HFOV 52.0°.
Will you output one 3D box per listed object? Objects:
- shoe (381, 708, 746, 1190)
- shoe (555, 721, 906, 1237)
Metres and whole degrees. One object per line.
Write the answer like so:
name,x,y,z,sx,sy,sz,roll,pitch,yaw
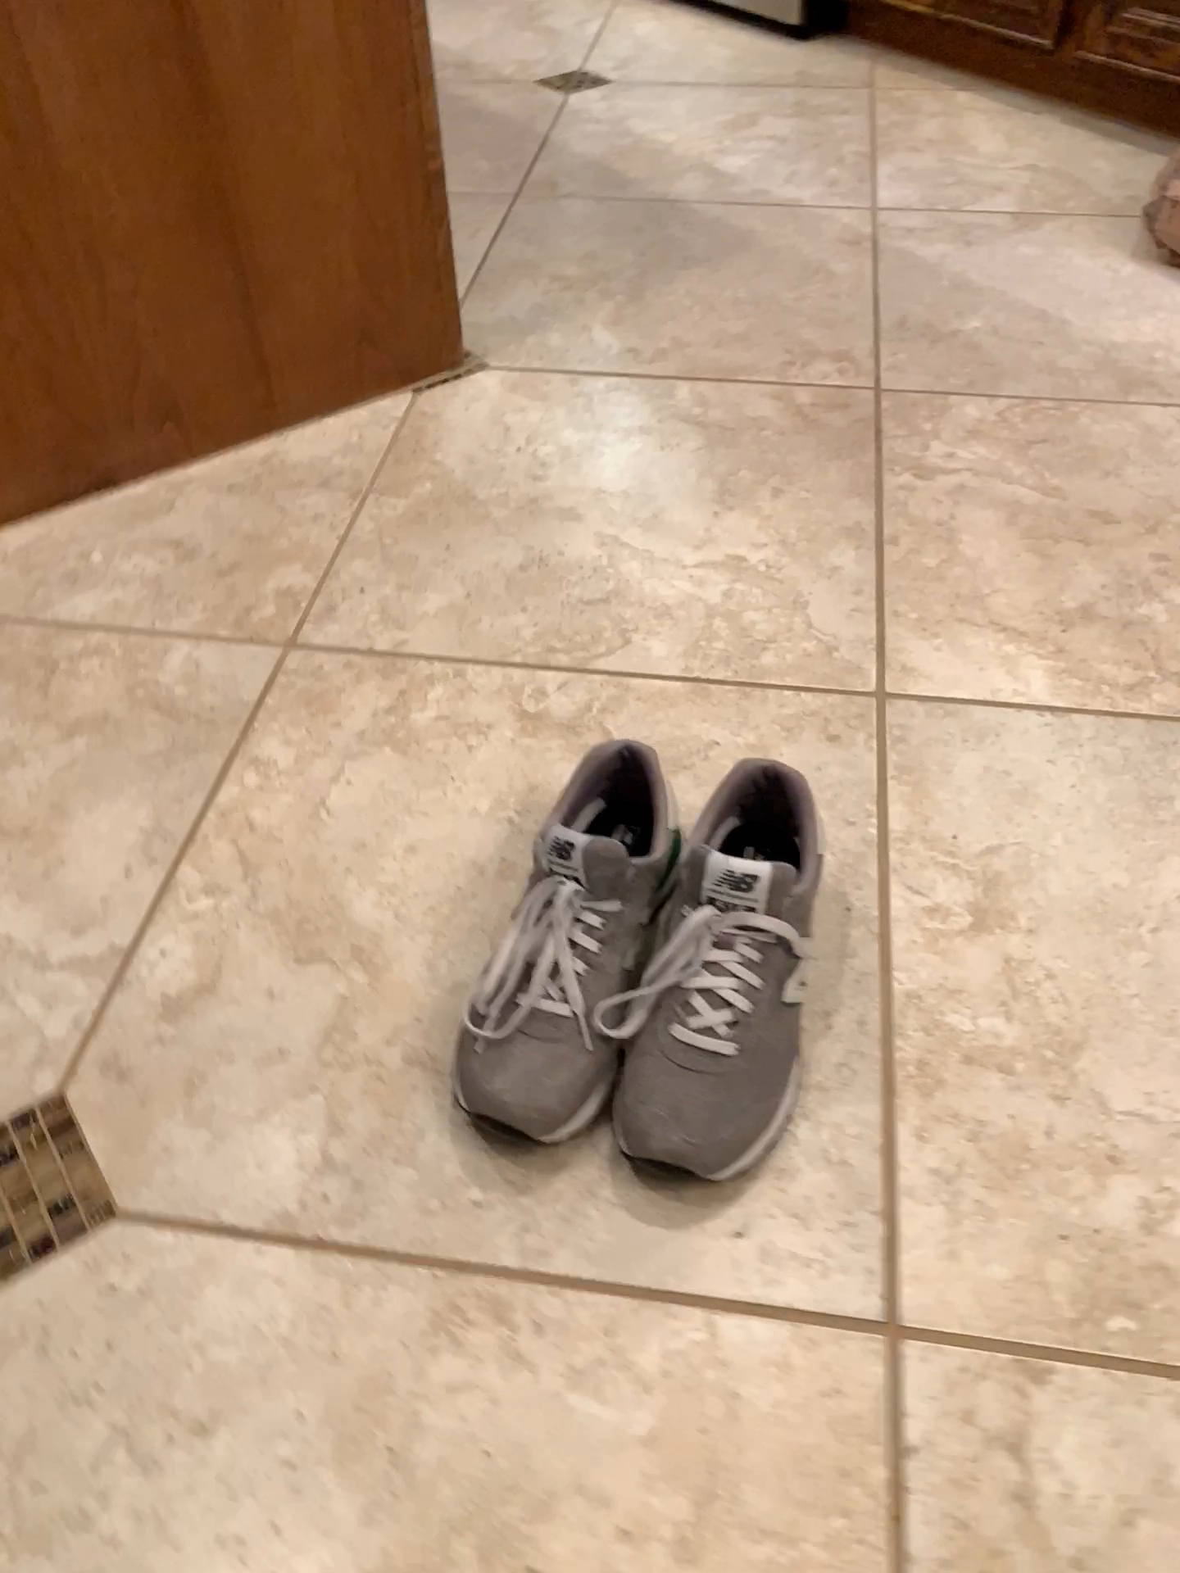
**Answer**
shoe,-0.004,0.089,0.762,0.115,0.103,0.275,16,49,17
shoe,0.093,0.102,0.737,0.115,0.103,0.285,16,49,17
